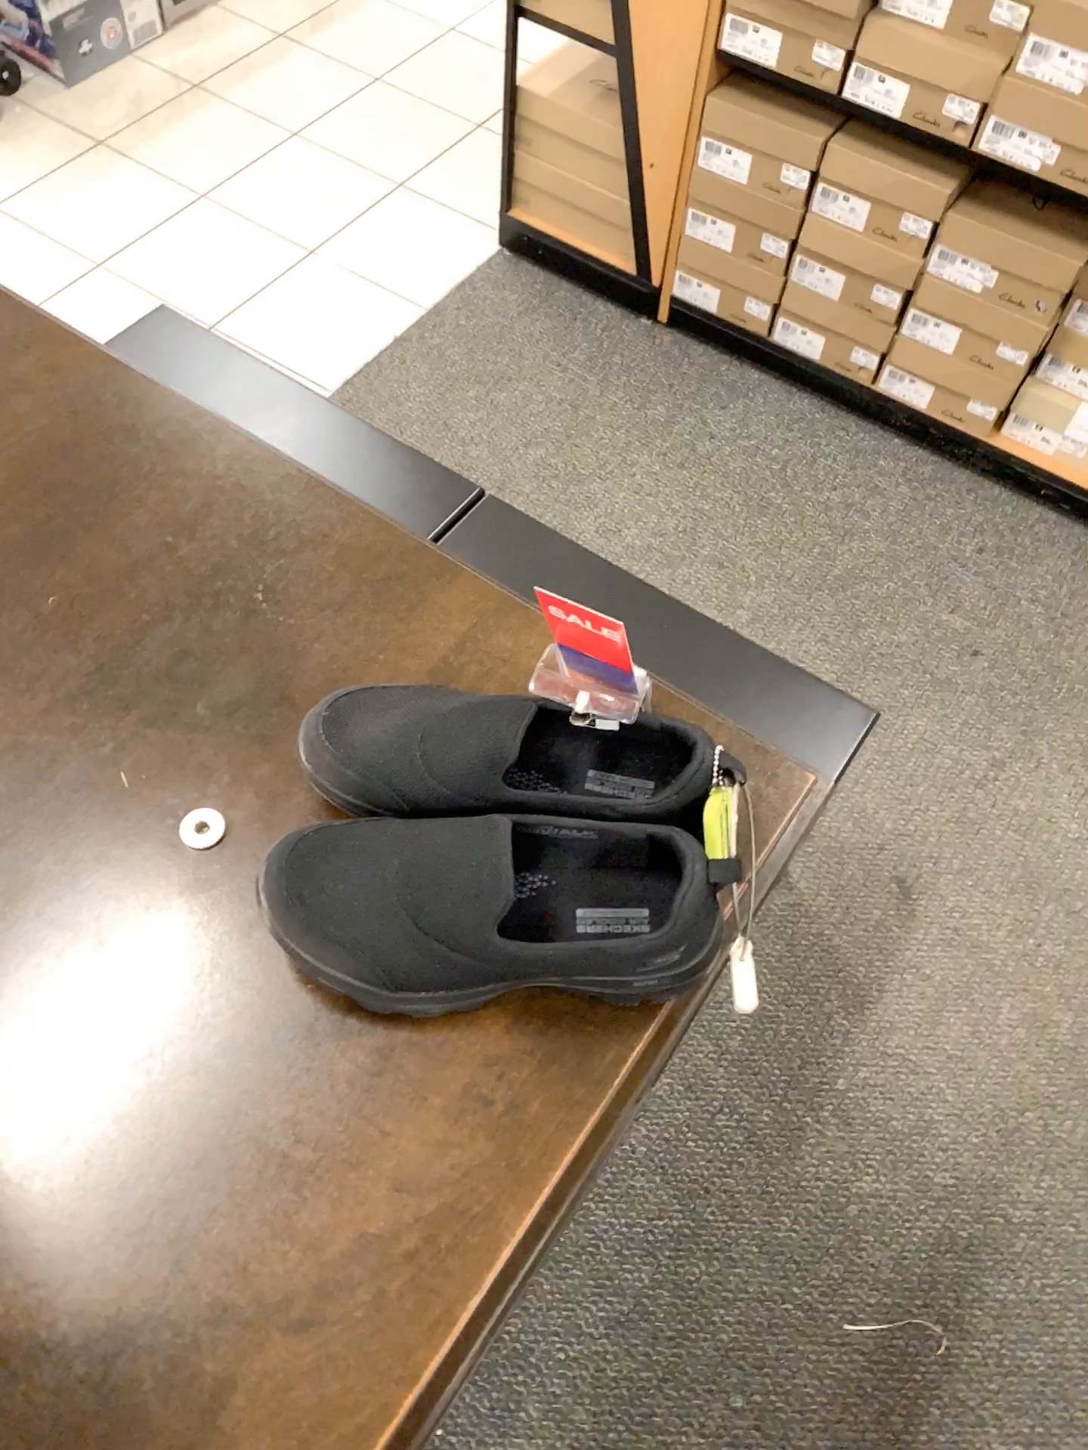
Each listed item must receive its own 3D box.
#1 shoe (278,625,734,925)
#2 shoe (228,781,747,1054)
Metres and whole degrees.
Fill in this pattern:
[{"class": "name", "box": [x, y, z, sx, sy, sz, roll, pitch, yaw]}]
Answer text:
[{"class": "shoe", "box": [-0.019, 0.031, 0.639, 0.230, 0.110, 0.094, 9, 58, 2]}, {"class": "shoe", "box": [-0.027, 0.106, 0.595, 0.244, 0.110, 0.094, 4, 58, -2]}]
